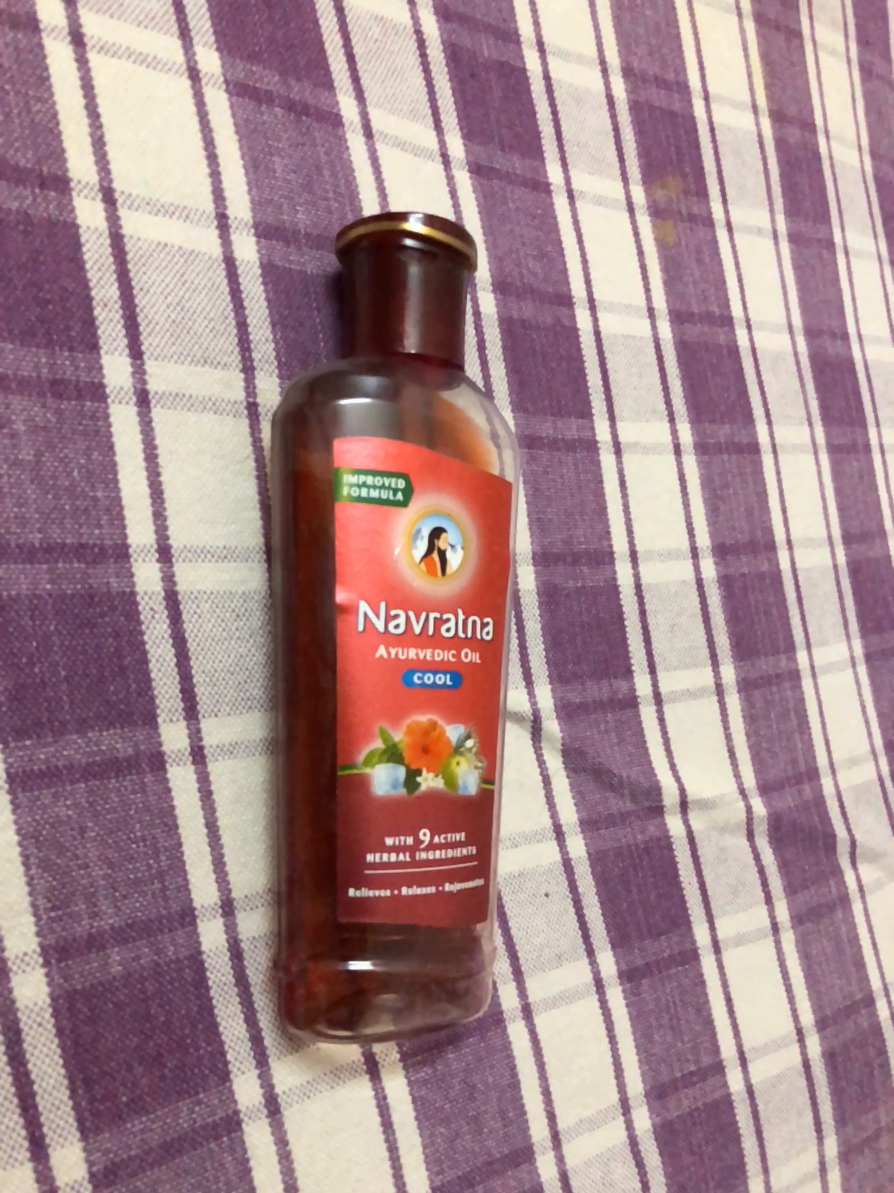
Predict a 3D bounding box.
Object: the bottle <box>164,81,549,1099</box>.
[{"bbox_3d":[-0.019,-0.002,0.234,0.070,0.050,0.200,5,83,-34],"label":"bottle"}]
